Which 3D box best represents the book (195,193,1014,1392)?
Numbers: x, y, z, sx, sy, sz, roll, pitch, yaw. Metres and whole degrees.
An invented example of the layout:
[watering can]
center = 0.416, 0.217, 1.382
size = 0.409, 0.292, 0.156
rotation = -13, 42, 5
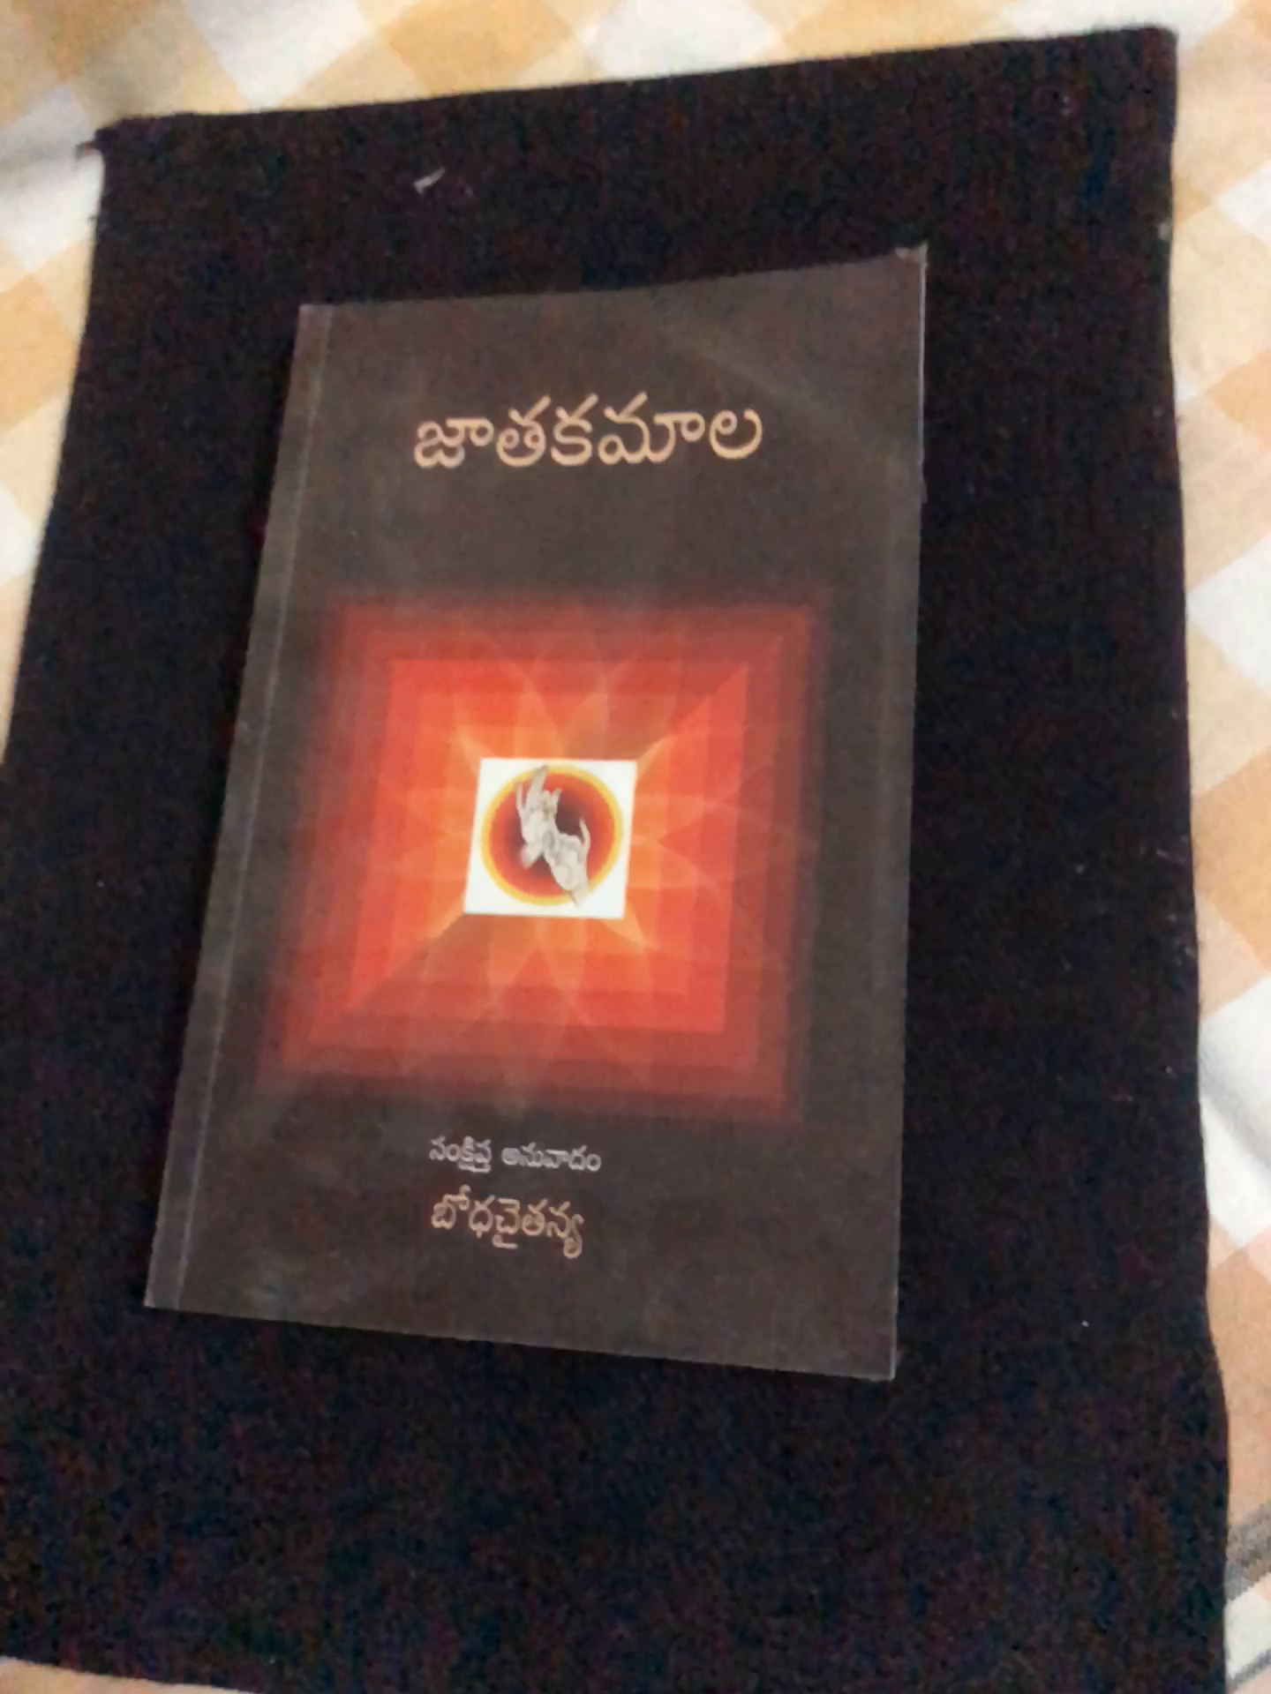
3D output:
[book]
center = -0.002, -0.017, 0.269
size = 0.140, 0.020, 0.210
rotation = 0, 76, 17
